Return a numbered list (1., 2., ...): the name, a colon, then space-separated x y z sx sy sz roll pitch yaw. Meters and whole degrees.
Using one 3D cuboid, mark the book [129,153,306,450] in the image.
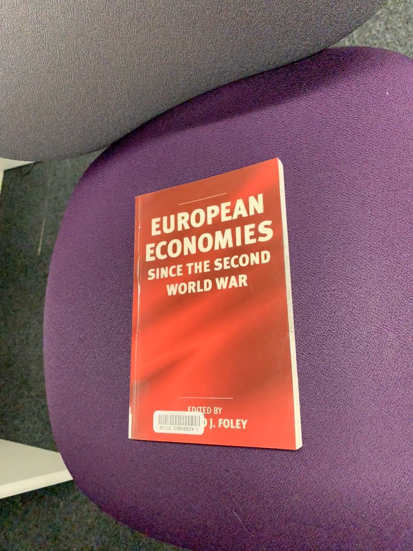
1. book: 0.002 0.021 0.362 0.149 0.020 0.225 -9 74 30
